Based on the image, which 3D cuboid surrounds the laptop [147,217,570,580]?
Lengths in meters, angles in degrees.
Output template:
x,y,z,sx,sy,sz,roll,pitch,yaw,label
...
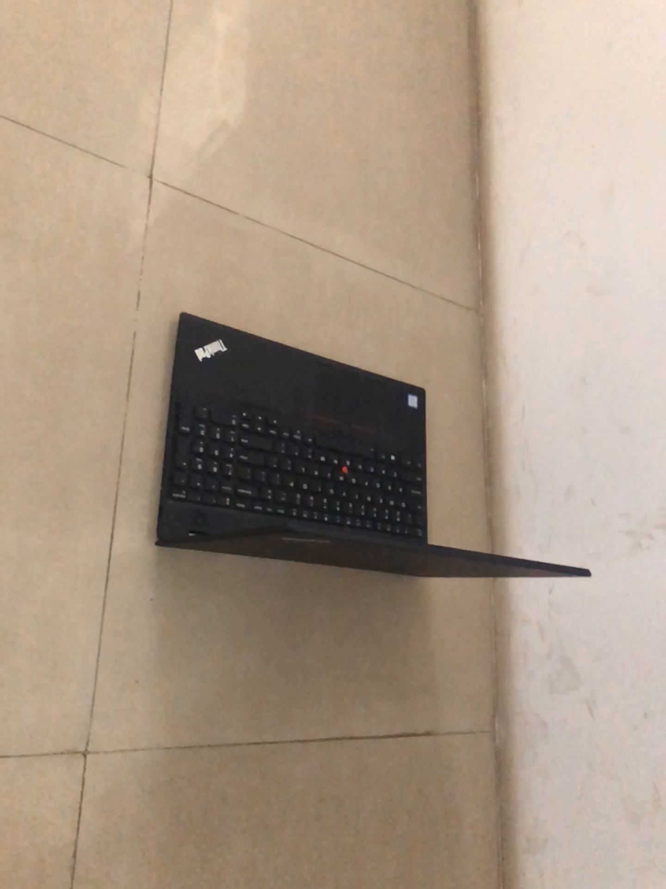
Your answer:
x,y,z,sx,sy,sz,roll,pitch,yaw,label
0.035,-0.008,0.769,0.355,0.240,0.255,14,70,-35,laptop
